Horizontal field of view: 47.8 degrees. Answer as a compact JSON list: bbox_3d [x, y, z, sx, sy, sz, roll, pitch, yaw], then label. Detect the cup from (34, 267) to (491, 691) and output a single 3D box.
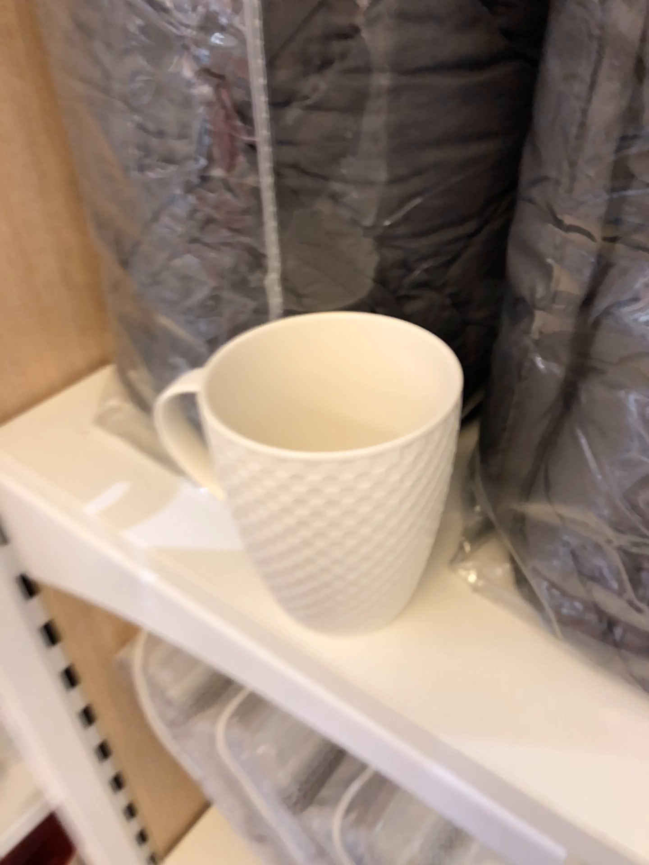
[{"bbox_3d":[-0.011,0.010,0.239,0.110,0.089,0.081,10,40,16],"label":"cup"}]
